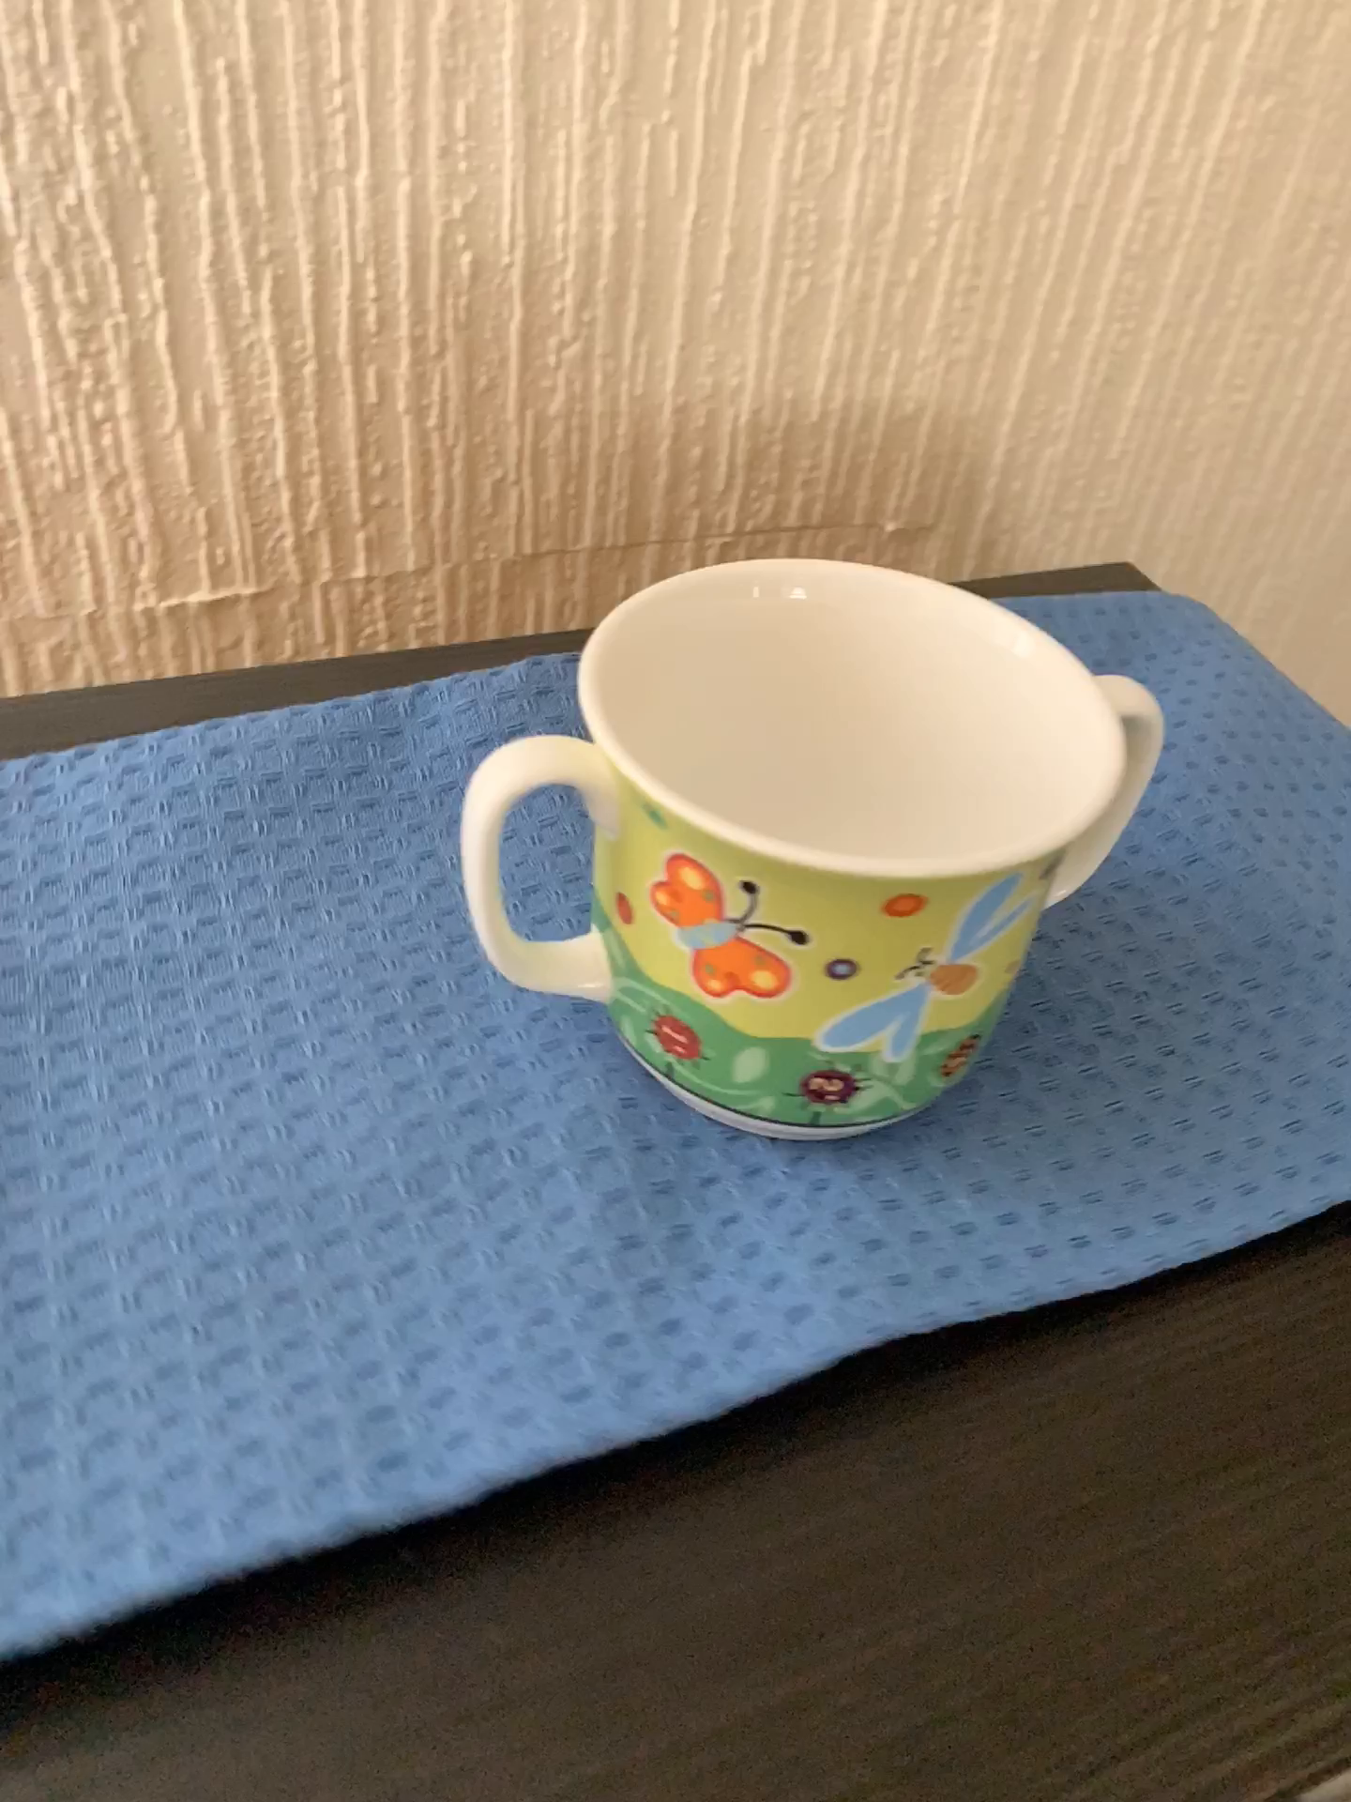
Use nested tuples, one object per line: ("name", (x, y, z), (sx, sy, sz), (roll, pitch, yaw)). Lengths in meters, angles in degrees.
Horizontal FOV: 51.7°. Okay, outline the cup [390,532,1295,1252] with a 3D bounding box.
("cup", (0.020, -0.008, 0.241), (0.120, 0.069, 0.081), (-10, 45, -19))
